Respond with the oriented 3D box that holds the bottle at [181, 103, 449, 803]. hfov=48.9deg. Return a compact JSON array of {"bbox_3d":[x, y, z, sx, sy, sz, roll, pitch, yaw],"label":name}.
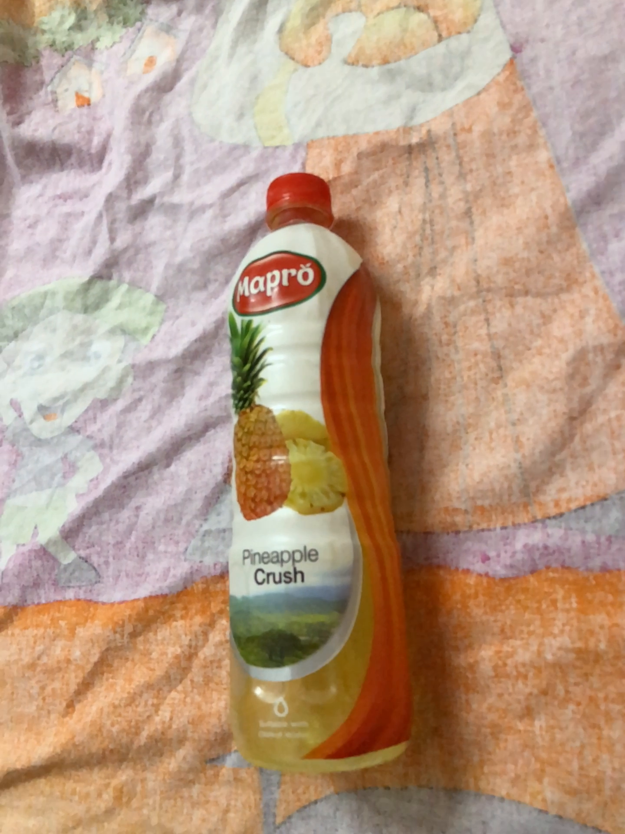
[{"bbox_3d":[-0.001,0.010,0.286,0.080,0.060,0.250,-8,78,23],"label":"bottle"}]
